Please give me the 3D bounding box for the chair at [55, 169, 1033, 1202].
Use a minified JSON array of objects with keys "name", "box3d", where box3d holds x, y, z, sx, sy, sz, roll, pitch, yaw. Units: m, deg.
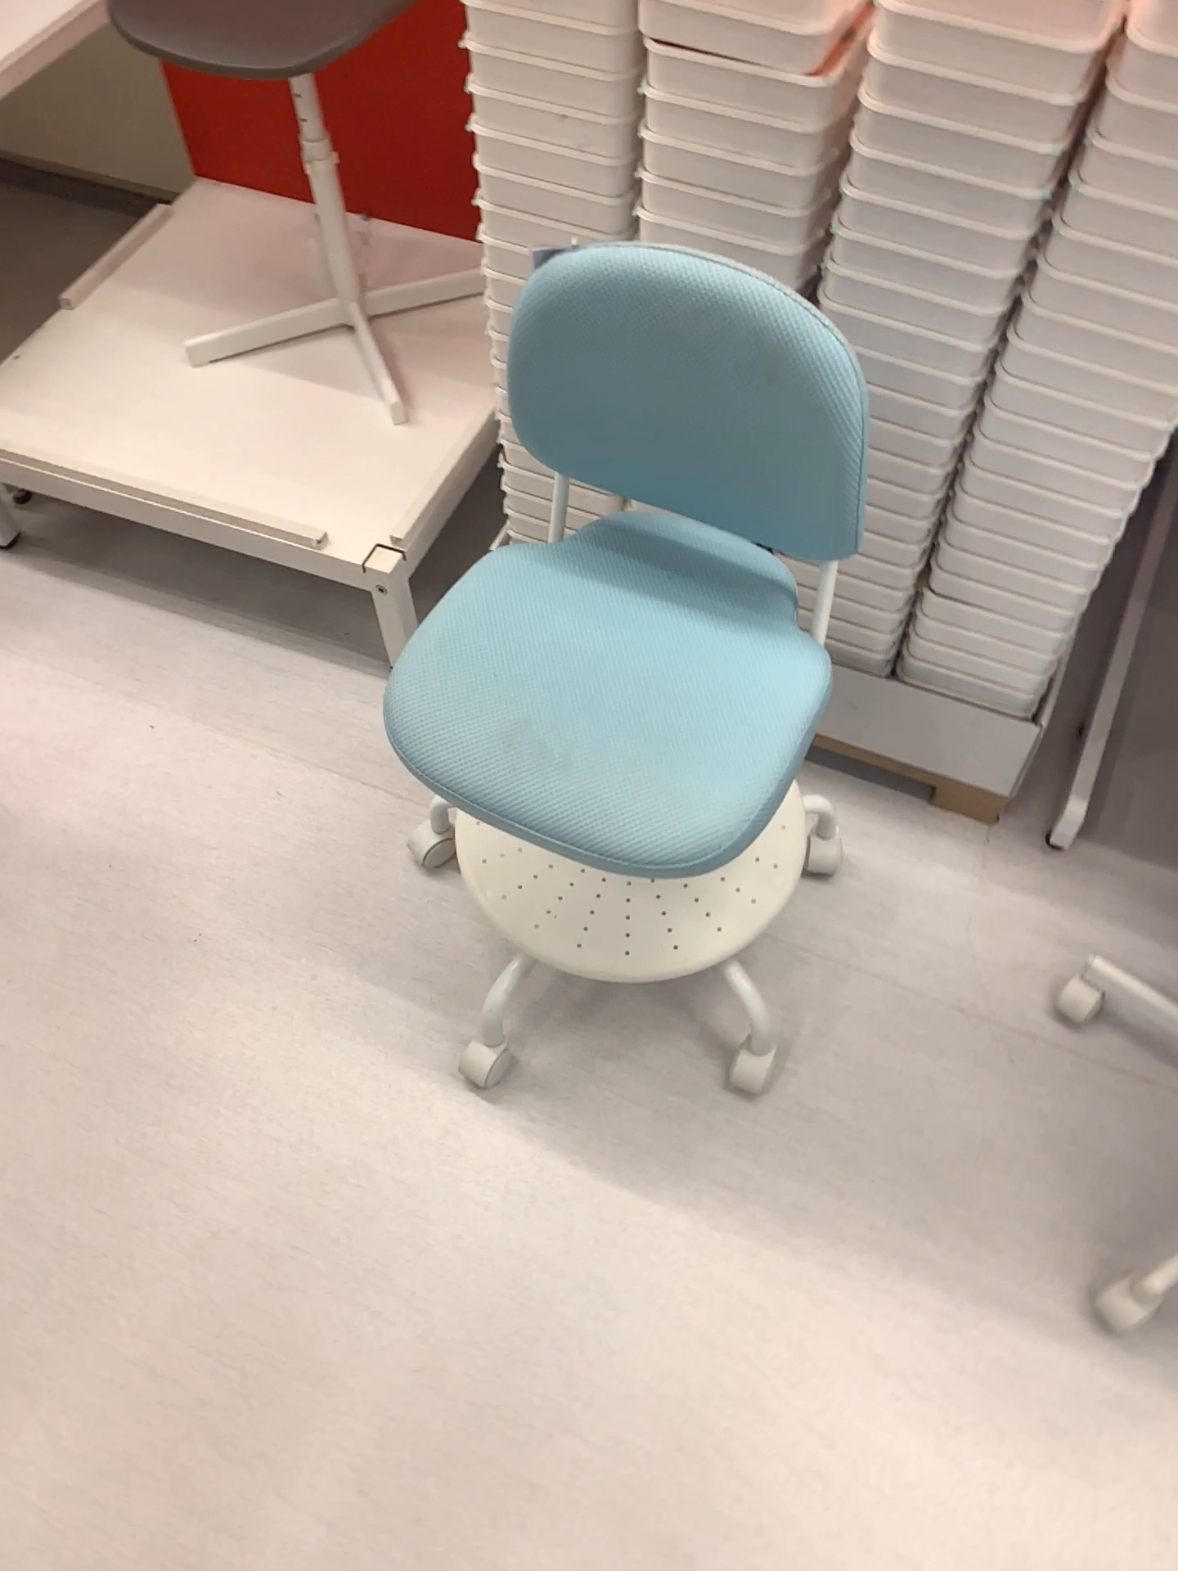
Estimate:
[{"name":"chair","box3d":[0.010,-0.070,1.255,0.570,0.748,0.611,19,58,15]}]
